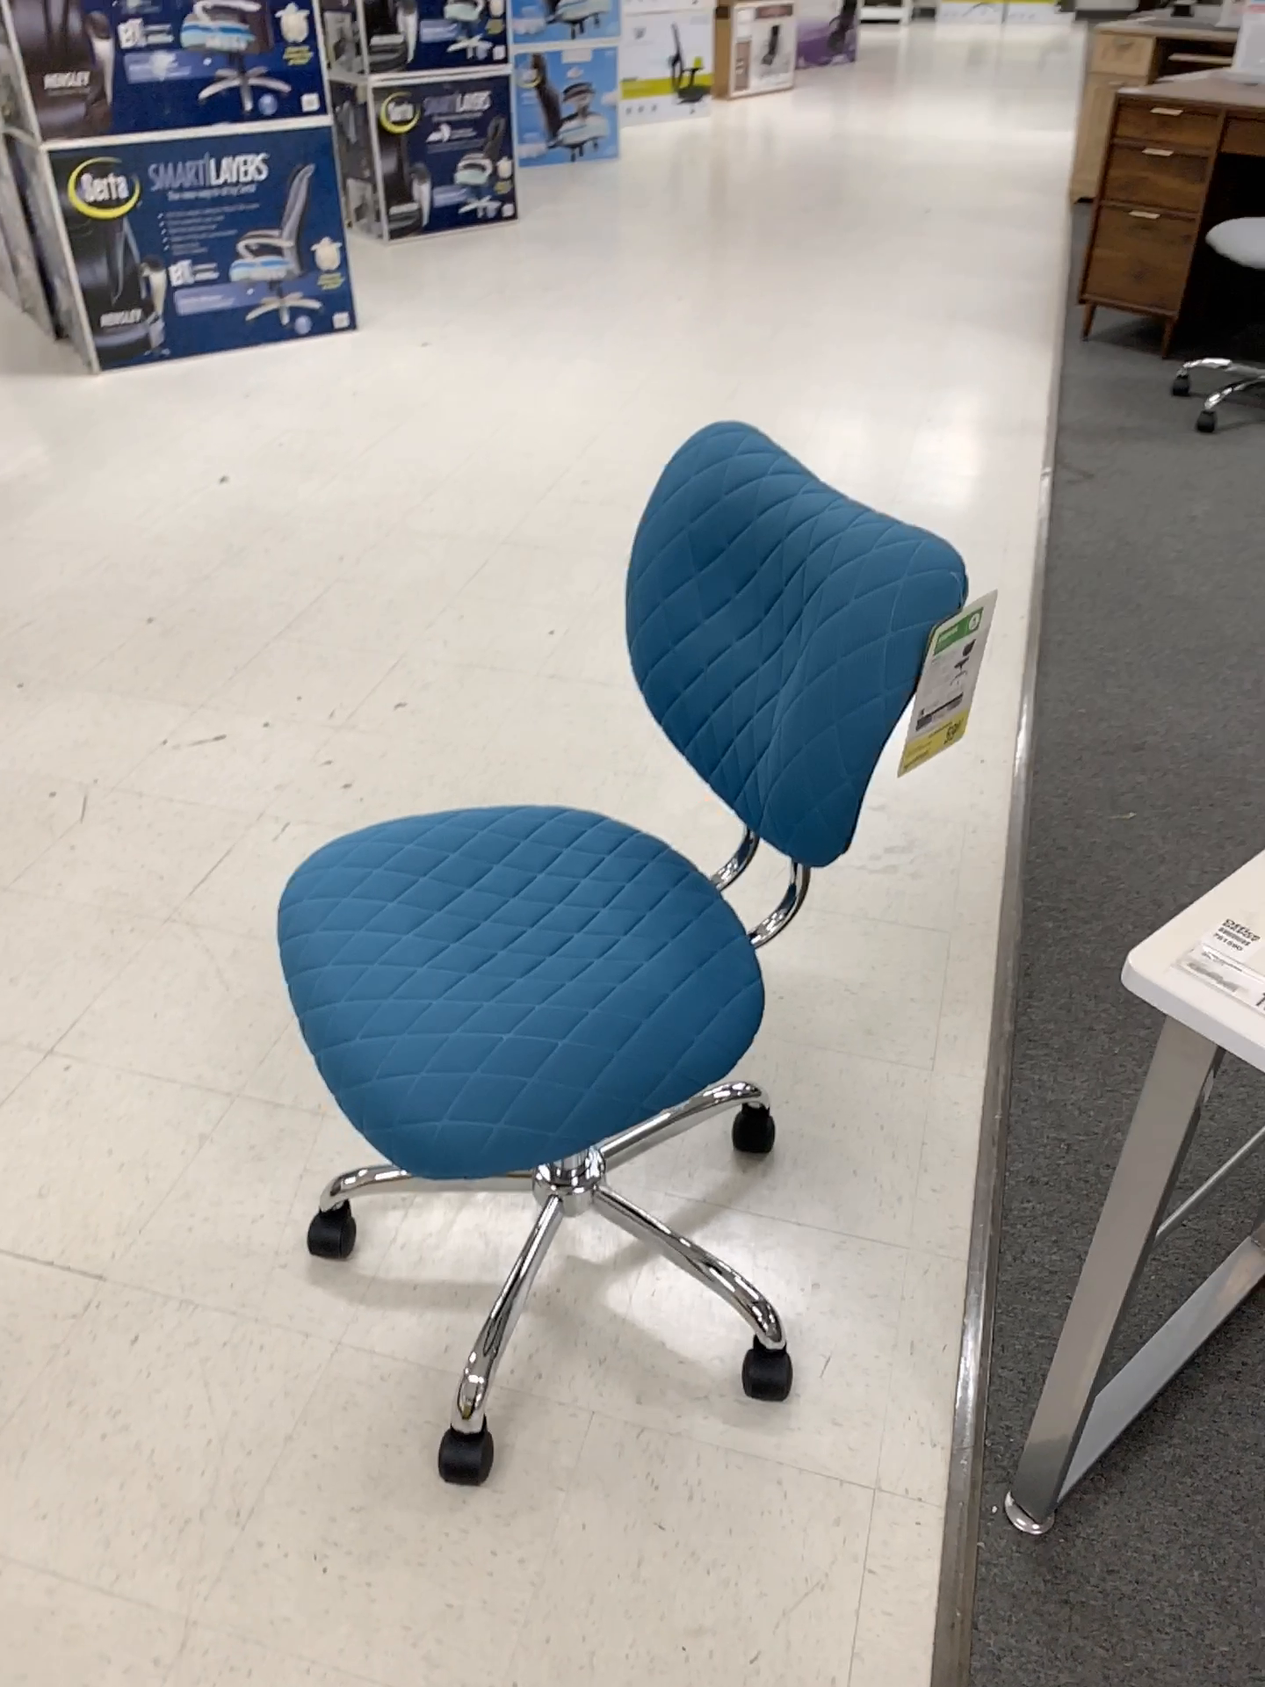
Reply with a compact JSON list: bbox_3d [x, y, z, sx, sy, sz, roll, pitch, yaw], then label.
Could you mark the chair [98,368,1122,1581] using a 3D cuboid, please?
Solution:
[{"bbox_3d":[-0.068,0.100,1.280,0.630,0.875,0.613,-14,38,-17],"label":"chair"}]
